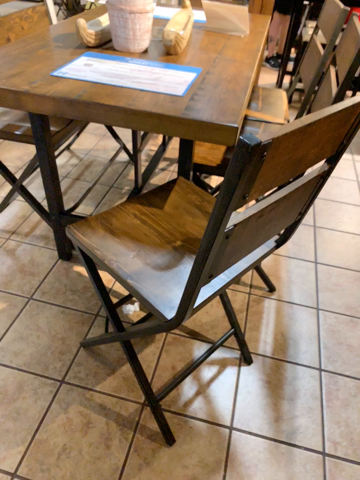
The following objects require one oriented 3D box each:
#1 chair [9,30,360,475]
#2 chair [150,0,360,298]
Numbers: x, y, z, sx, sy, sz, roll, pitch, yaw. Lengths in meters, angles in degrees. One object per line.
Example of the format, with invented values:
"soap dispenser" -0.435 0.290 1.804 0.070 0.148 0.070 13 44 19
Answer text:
"chair" -0.017 0.035 1.039 0.443 0.983 0.617 -28 48 -35
"chair" 0.262 -0.340 1.509 0.615 1.003 0.495 10 42 10
